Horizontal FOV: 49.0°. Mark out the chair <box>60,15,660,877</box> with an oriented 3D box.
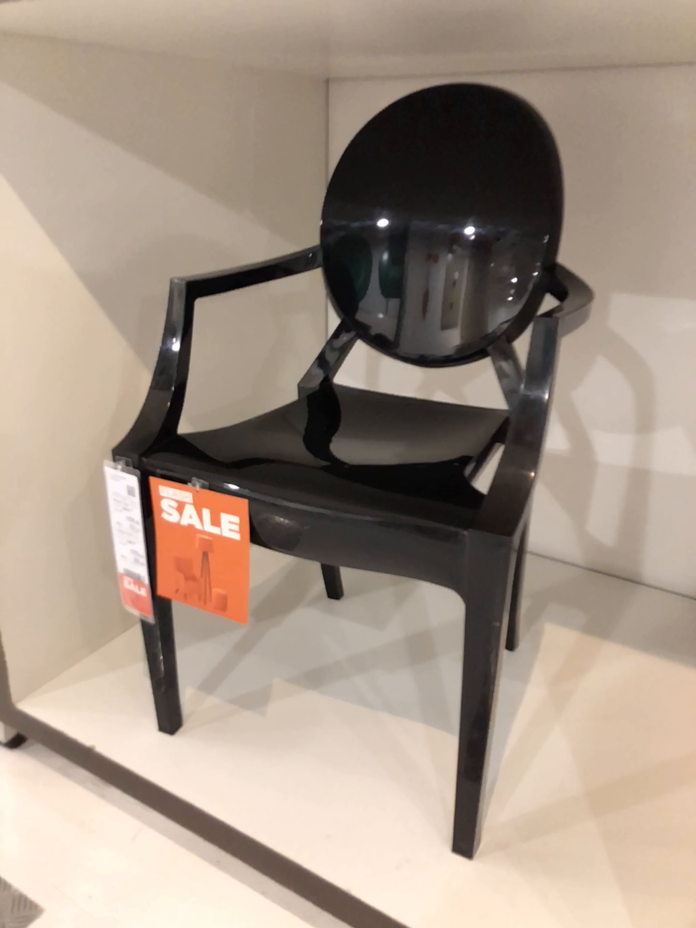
[{"bbox_3d":[0.051,-0.057,1.017,0.510,0.854,0.493,11,25,25],"label":"chair"}]
